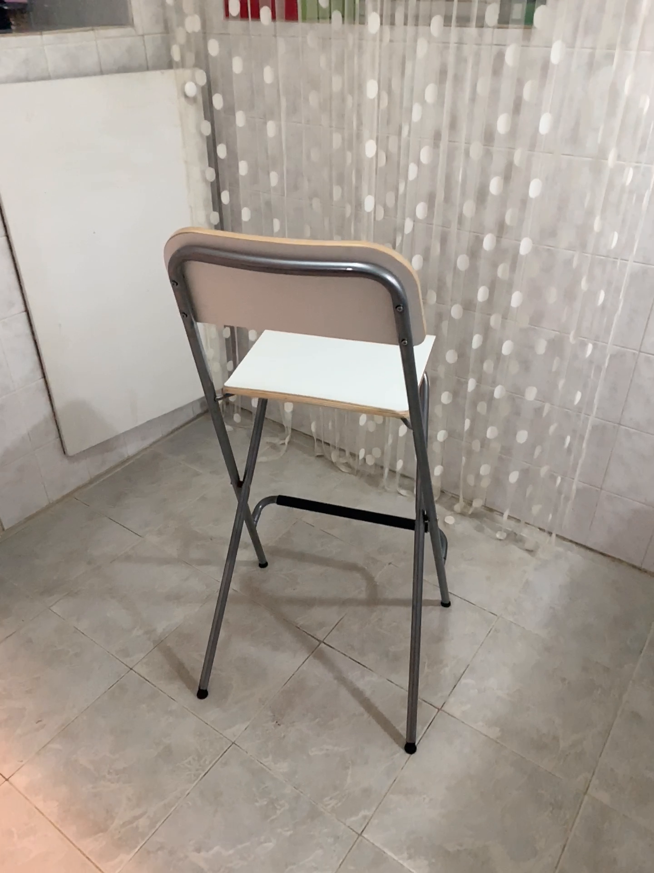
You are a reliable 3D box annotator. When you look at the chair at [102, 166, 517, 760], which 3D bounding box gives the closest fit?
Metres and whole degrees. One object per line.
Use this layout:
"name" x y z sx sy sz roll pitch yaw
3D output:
"chair" 0.007 0.066 1.314 0.537 1.008 0.468 9 34 12
